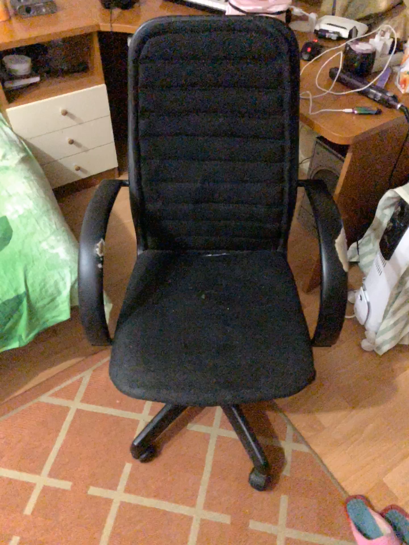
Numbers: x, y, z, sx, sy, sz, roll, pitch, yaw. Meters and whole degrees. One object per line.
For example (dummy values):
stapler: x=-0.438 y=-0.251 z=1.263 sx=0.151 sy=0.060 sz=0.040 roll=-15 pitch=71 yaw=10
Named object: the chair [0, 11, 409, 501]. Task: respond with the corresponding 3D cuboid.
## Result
chair: x=0.047 y=0.033 z=1.033 sx=0.670 sy=0.992 sz=0.726 roll=0 pitch=48 yaw=-2
